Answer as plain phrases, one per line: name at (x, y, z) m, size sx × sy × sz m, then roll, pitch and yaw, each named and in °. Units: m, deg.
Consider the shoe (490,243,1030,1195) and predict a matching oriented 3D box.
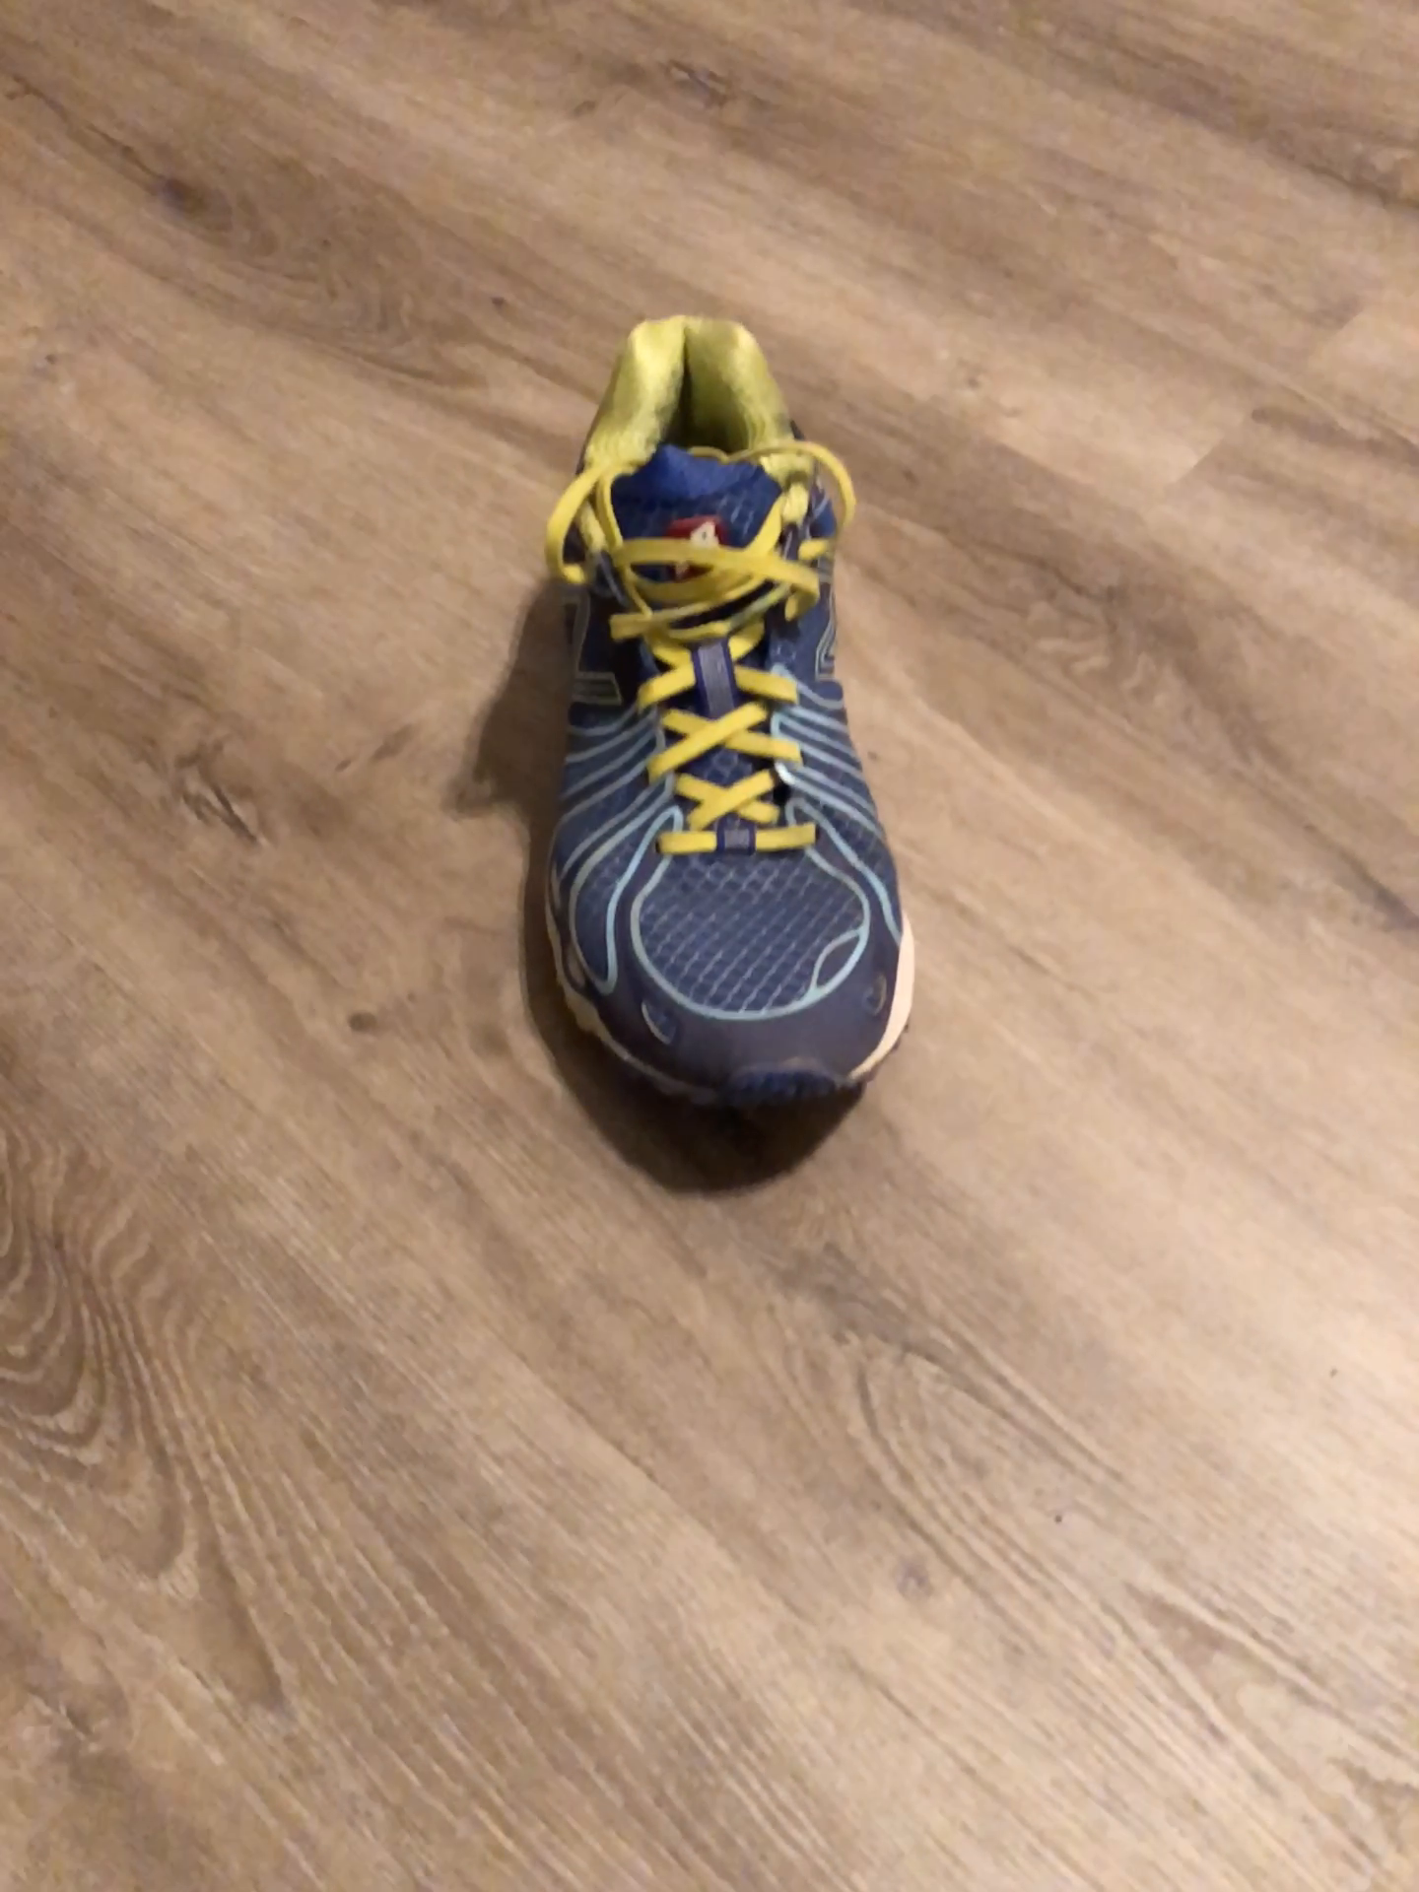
shoe at (0.002, -0.072, 0.431) m, size 0.110 × 0.100 × 0.251 m, roll -5°, pitch 55°, yaw -2°
